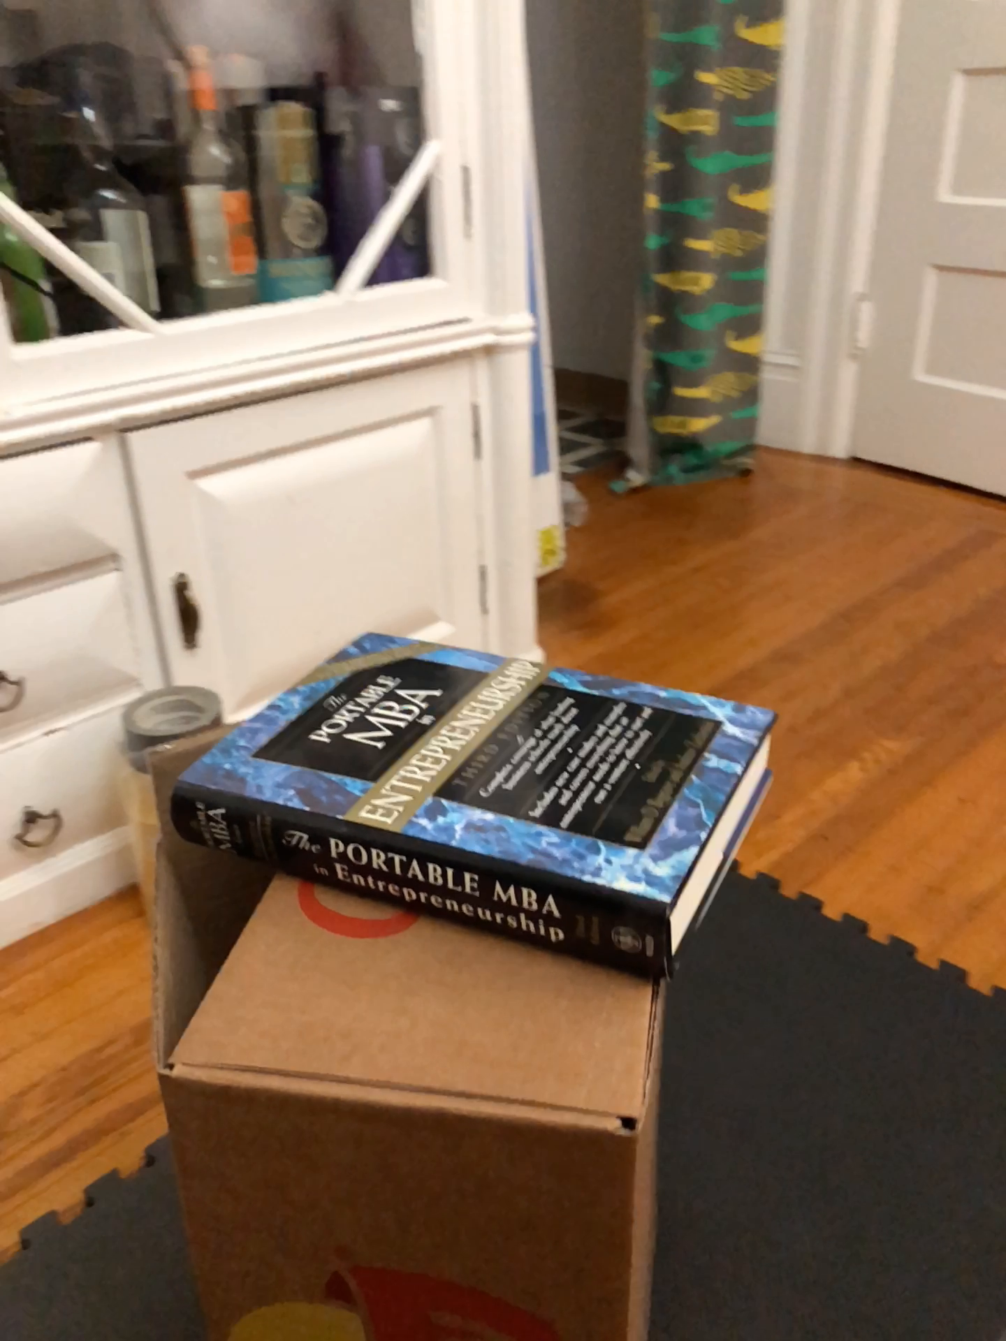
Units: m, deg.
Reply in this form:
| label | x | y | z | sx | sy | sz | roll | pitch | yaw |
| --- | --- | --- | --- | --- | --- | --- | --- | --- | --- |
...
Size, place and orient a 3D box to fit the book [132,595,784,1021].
| label | x | y | z | sx | sy | sz | roll | pitch | yaw |
| --- | --- | --- | --- | --- | --- | --- | --- | --- | --- |
| book | -0.013 | 0.049 | 0.583 | 0.270 | 0.060 | 0.211 | 12 | 30 | 22 |
